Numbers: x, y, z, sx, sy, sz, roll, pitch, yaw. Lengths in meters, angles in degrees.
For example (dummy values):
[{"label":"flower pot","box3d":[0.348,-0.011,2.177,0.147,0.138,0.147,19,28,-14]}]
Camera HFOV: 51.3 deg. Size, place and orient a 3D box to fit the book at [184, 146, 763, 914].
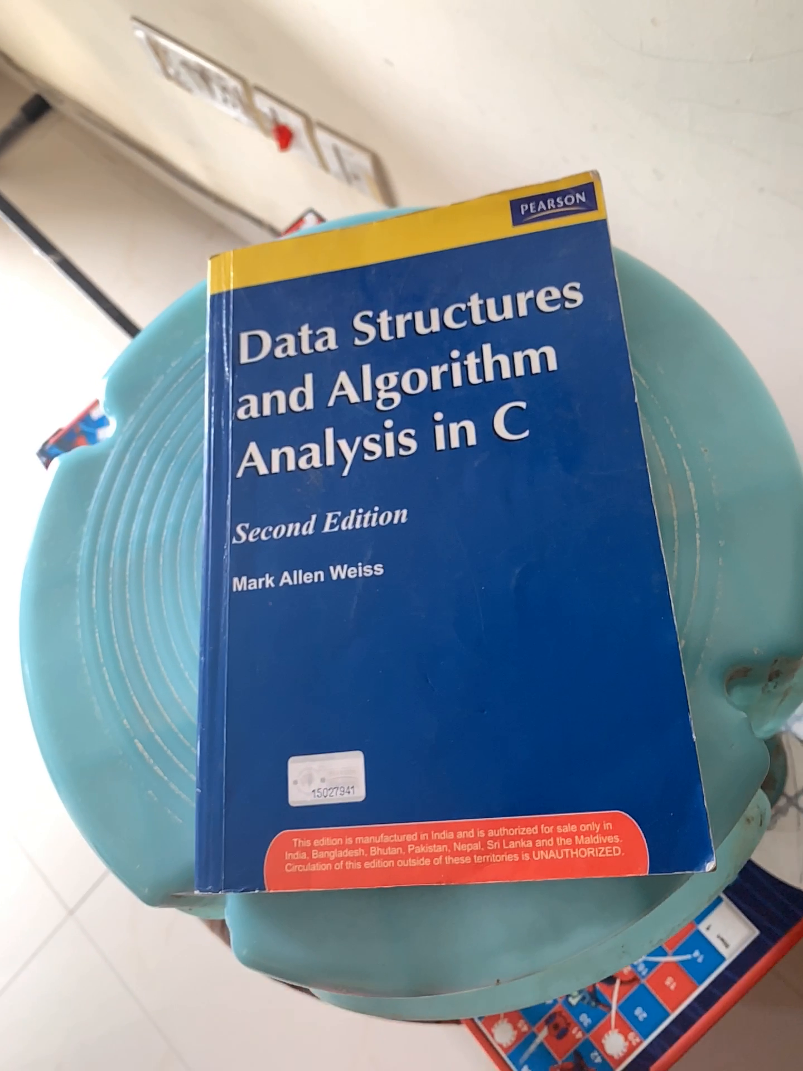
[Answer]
[{"label":"book","box3d":[0.010,-0.009,0.283,0.160,0.030,0.241,-8,70,11]}]
